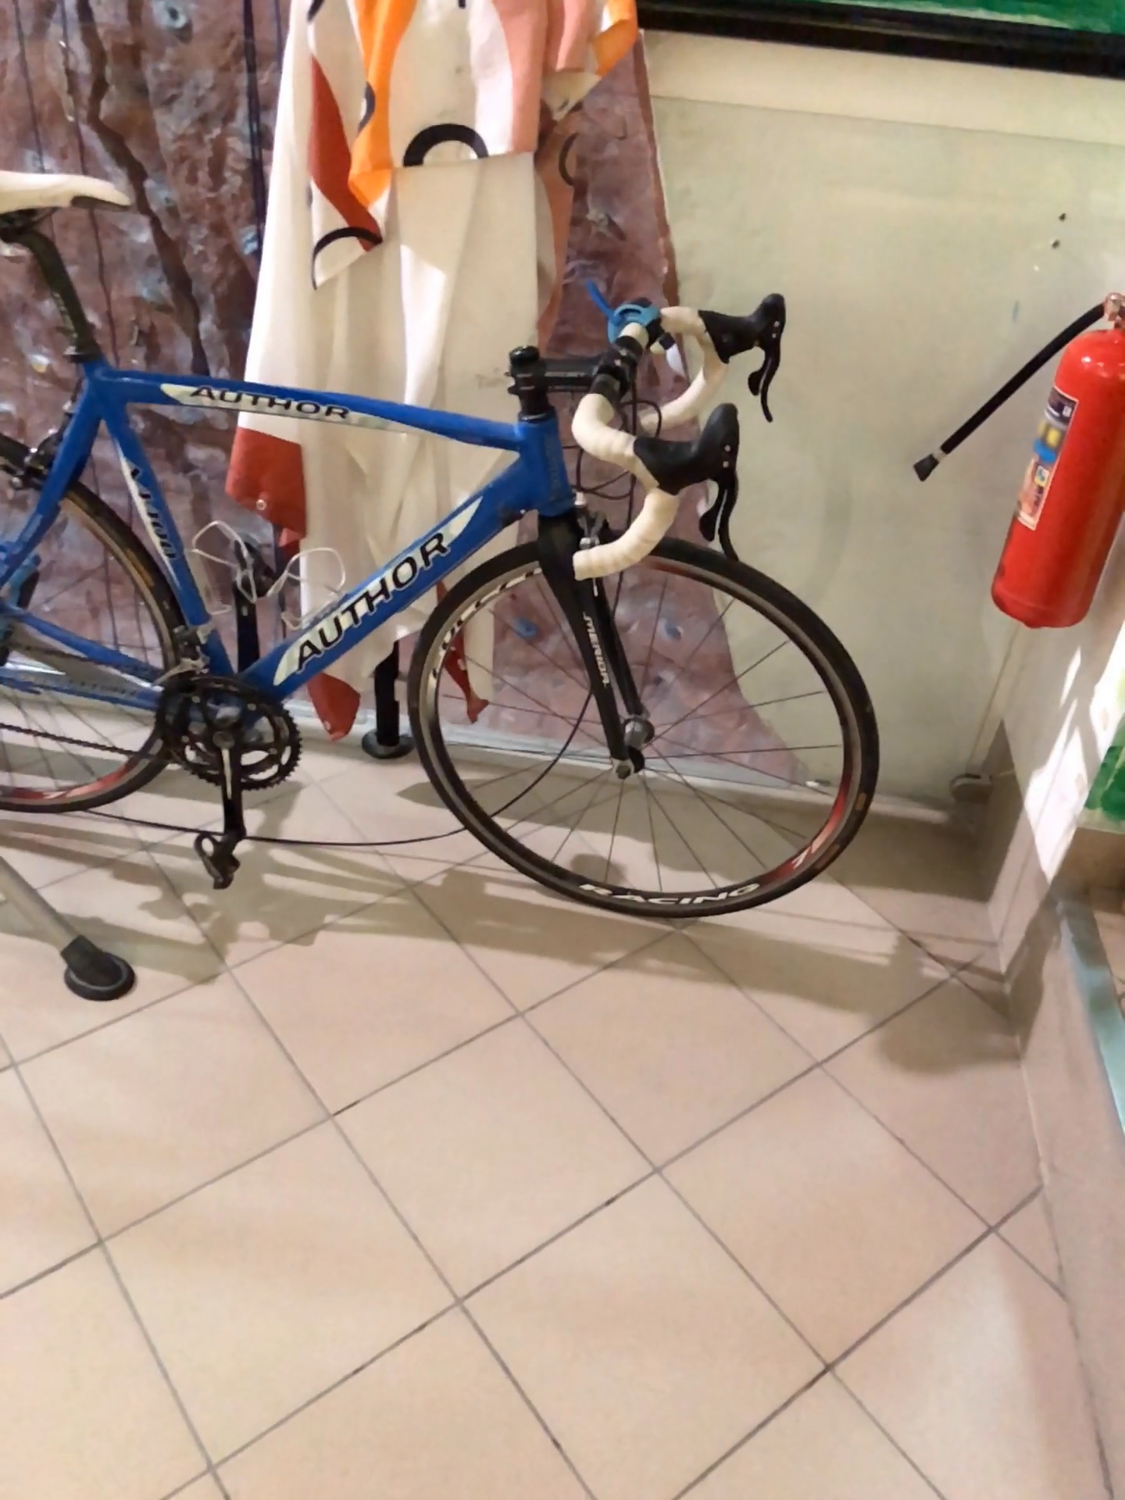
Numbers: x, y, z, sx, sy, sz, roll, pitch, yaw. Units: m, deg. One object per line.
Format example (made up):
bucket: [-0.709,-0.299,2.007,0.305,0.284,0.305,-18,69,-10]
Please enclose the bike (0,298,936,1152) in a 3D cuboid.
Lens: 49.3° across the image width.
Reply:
bike: [-0.369,-0.036,1.674,1.552,0.682,0.468,12,37,2]
